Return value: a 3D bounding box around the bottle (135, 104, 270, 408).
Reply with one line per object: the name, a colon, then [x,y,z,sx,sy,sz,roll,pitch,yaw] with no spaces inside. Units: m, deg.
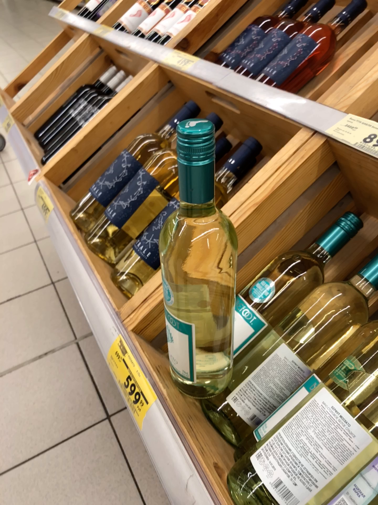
bottle: [0.013,0.019,0.406,0.080,0.288,0.080,-2,36,1]
